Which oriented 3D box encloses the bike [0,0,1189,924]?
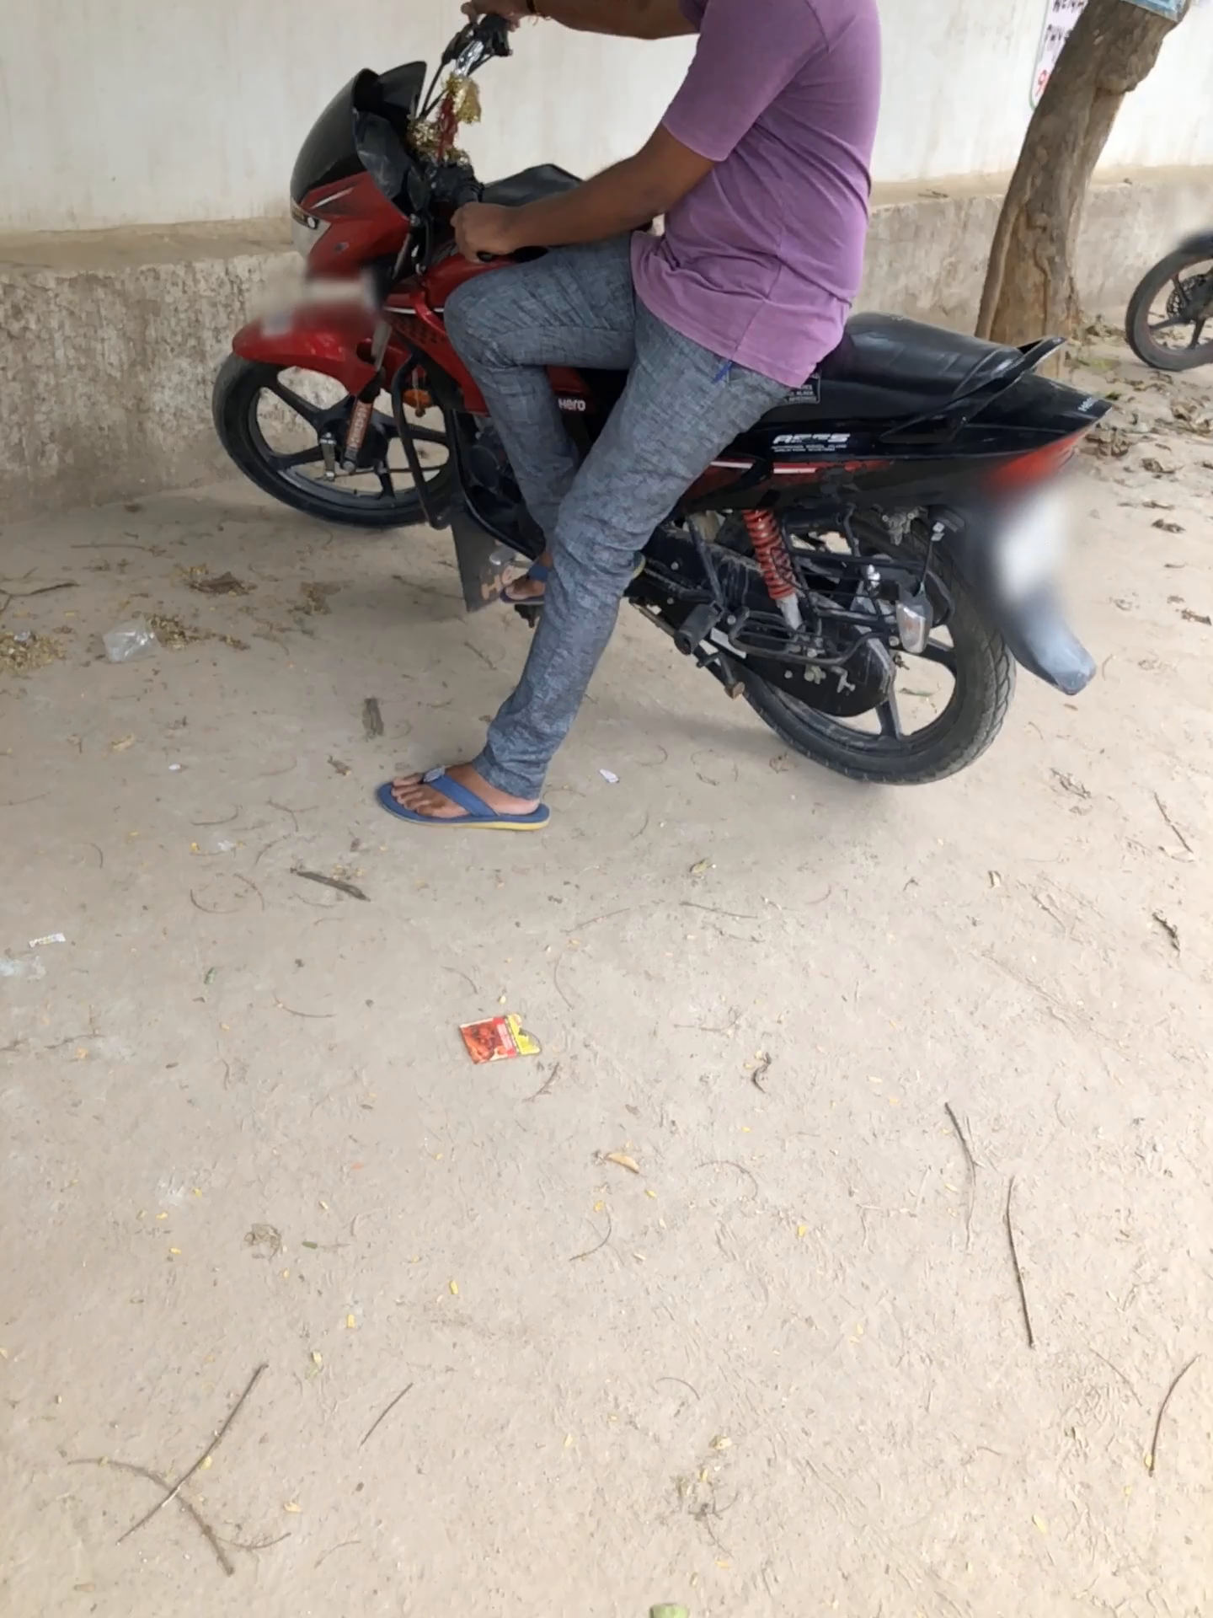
[{"bbox_3d":[-0.137,-0.801,2.148,1.698,1.086,0.745,23,36,19],"label":"bike"}]
